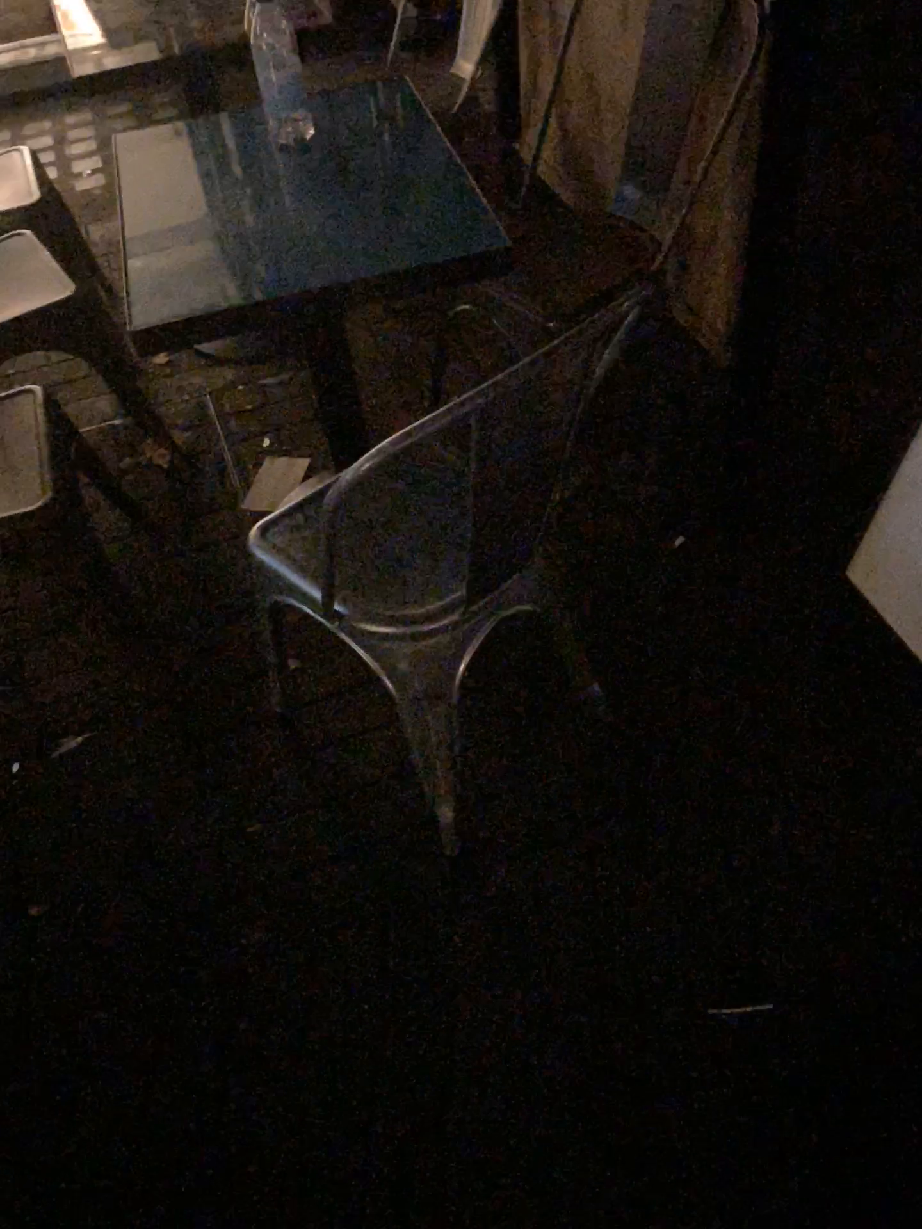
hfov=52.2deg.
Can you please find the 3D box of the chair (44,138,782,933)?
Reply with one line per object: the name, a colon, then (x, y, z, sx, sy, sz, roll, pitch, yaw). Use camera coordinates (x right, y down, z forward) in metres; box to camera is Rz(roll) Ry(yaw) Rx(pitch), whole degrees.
chair: (-0.033, -0.106, 1.251, 0.603, 0.723, 0.502, 32, 59, 31)
